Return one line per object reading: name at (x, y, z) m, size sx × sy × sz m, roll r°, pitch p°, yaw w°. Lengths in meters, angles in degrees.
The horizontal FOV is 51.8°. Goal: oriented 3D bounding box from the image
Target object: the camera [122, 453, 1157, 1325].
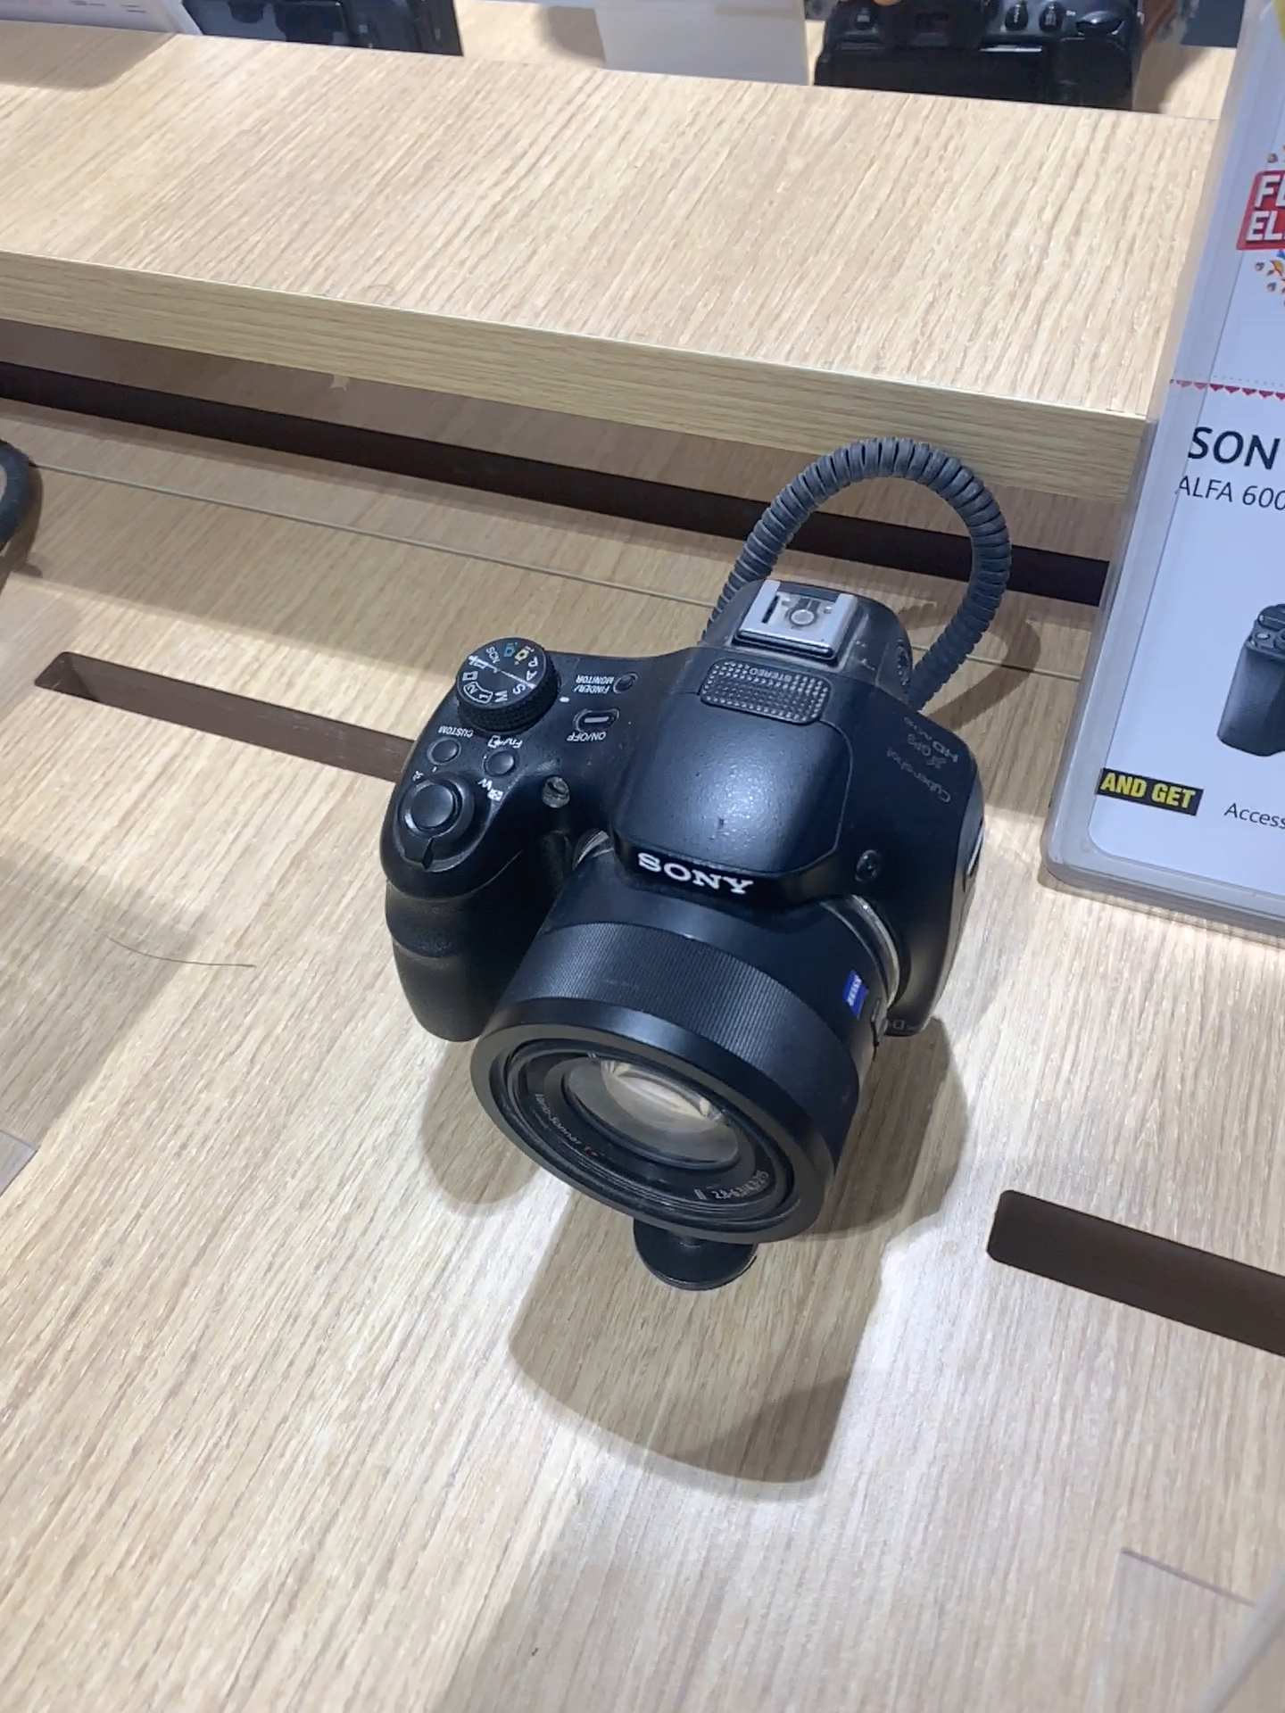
camera at (0.006, 0.004, 0.246) m, size 0.140 × 0.100 × 0.090 m, roll 14°, pitch 54°, yaw 16°
